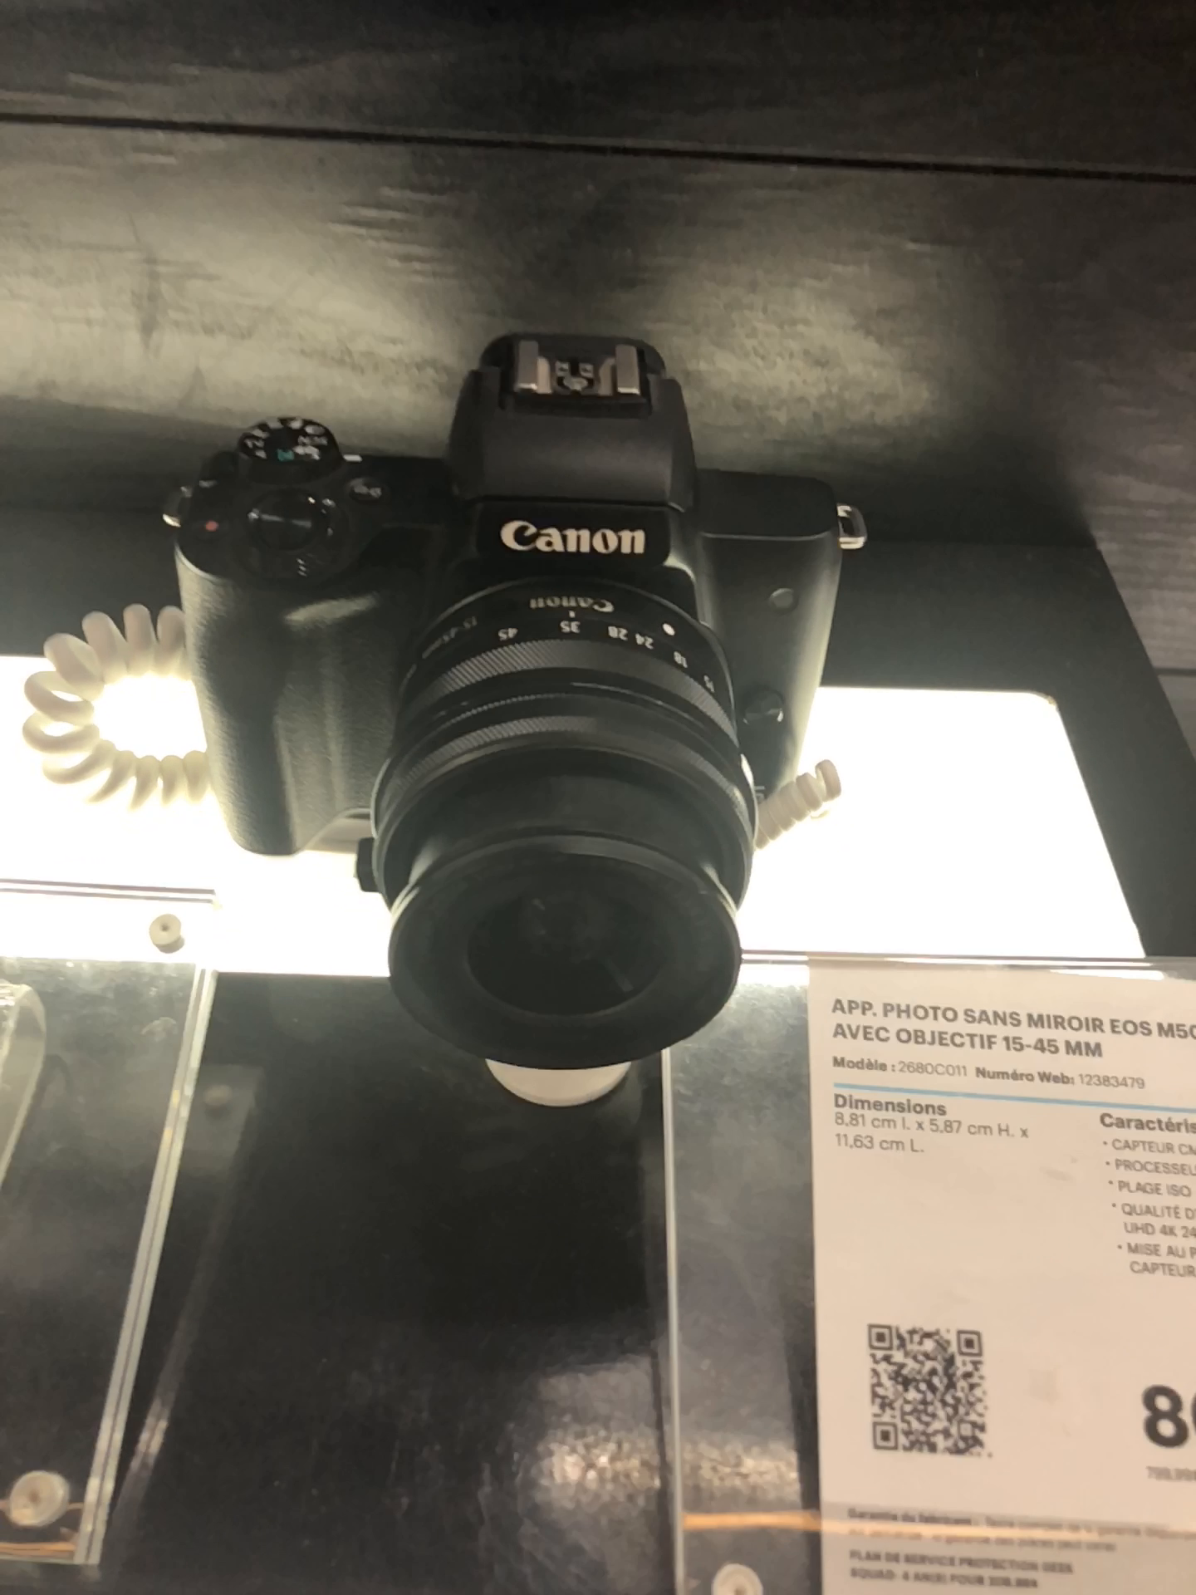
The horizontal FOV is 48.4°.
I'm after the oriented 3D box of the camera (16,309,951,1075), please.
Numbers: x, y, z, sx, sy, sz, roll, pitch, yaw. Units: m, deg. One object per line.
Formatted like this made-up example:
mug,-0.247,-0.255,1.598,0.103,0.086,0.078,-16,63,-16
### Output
camera,-0.016,-0.021,0.236,0.119,0.089,0.101,2,42,-1
